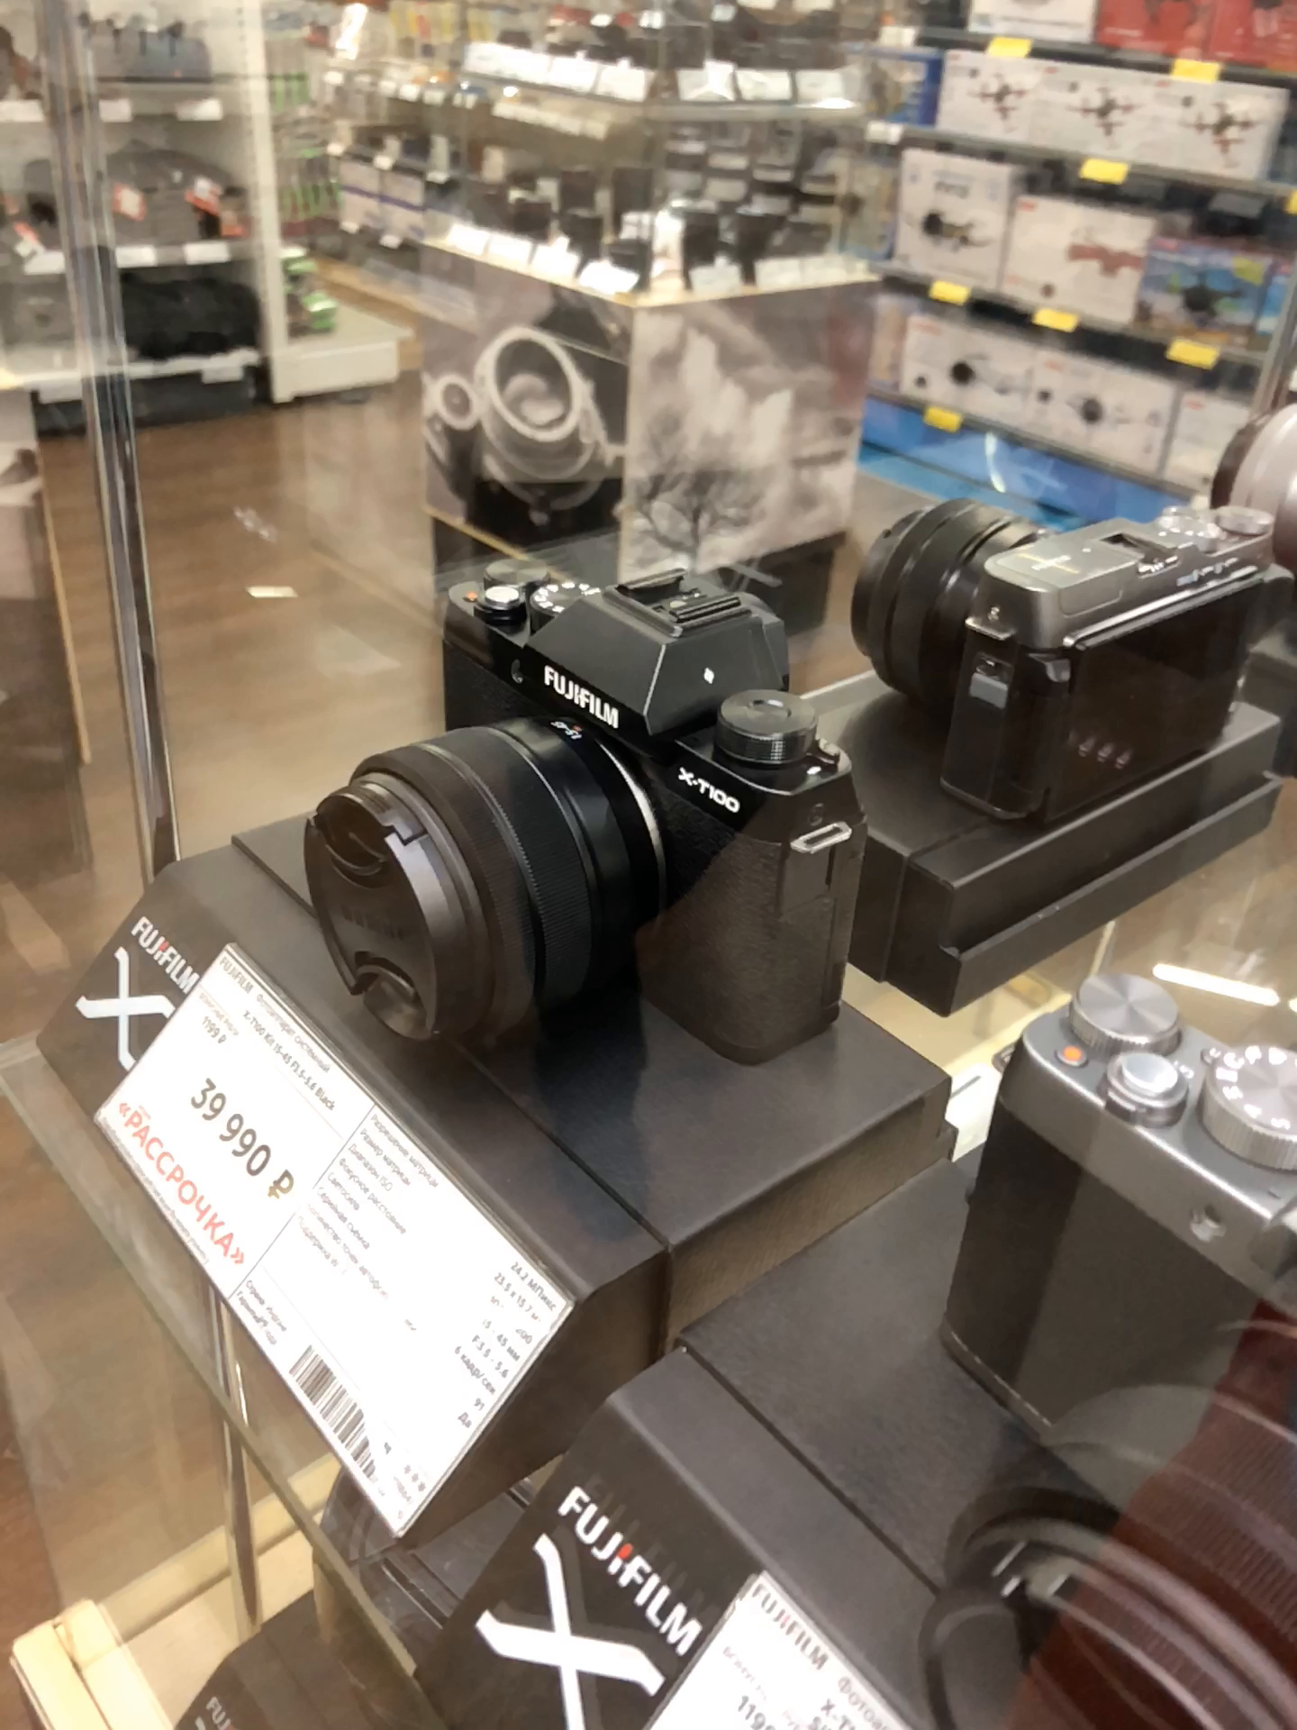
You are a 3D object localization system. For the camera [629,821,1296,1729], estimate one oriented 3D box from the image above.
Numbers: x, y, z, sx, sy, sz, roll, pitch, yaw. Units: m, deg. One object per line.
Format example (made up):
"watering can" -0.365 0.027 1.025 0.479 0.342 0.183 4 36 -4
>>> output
"camera" 0.076 0.068 0.179 0.099 0.078 0.120 -20 40 -34

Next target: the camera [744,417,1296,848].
"camera" 0.109 -0.074 0.416 0.120 0.069 0.100 -23 41 -36

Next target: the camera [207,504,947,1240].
"camera" -0.020 -0.009 0.309 0.095 0.089 0.120 -20 39 -33
